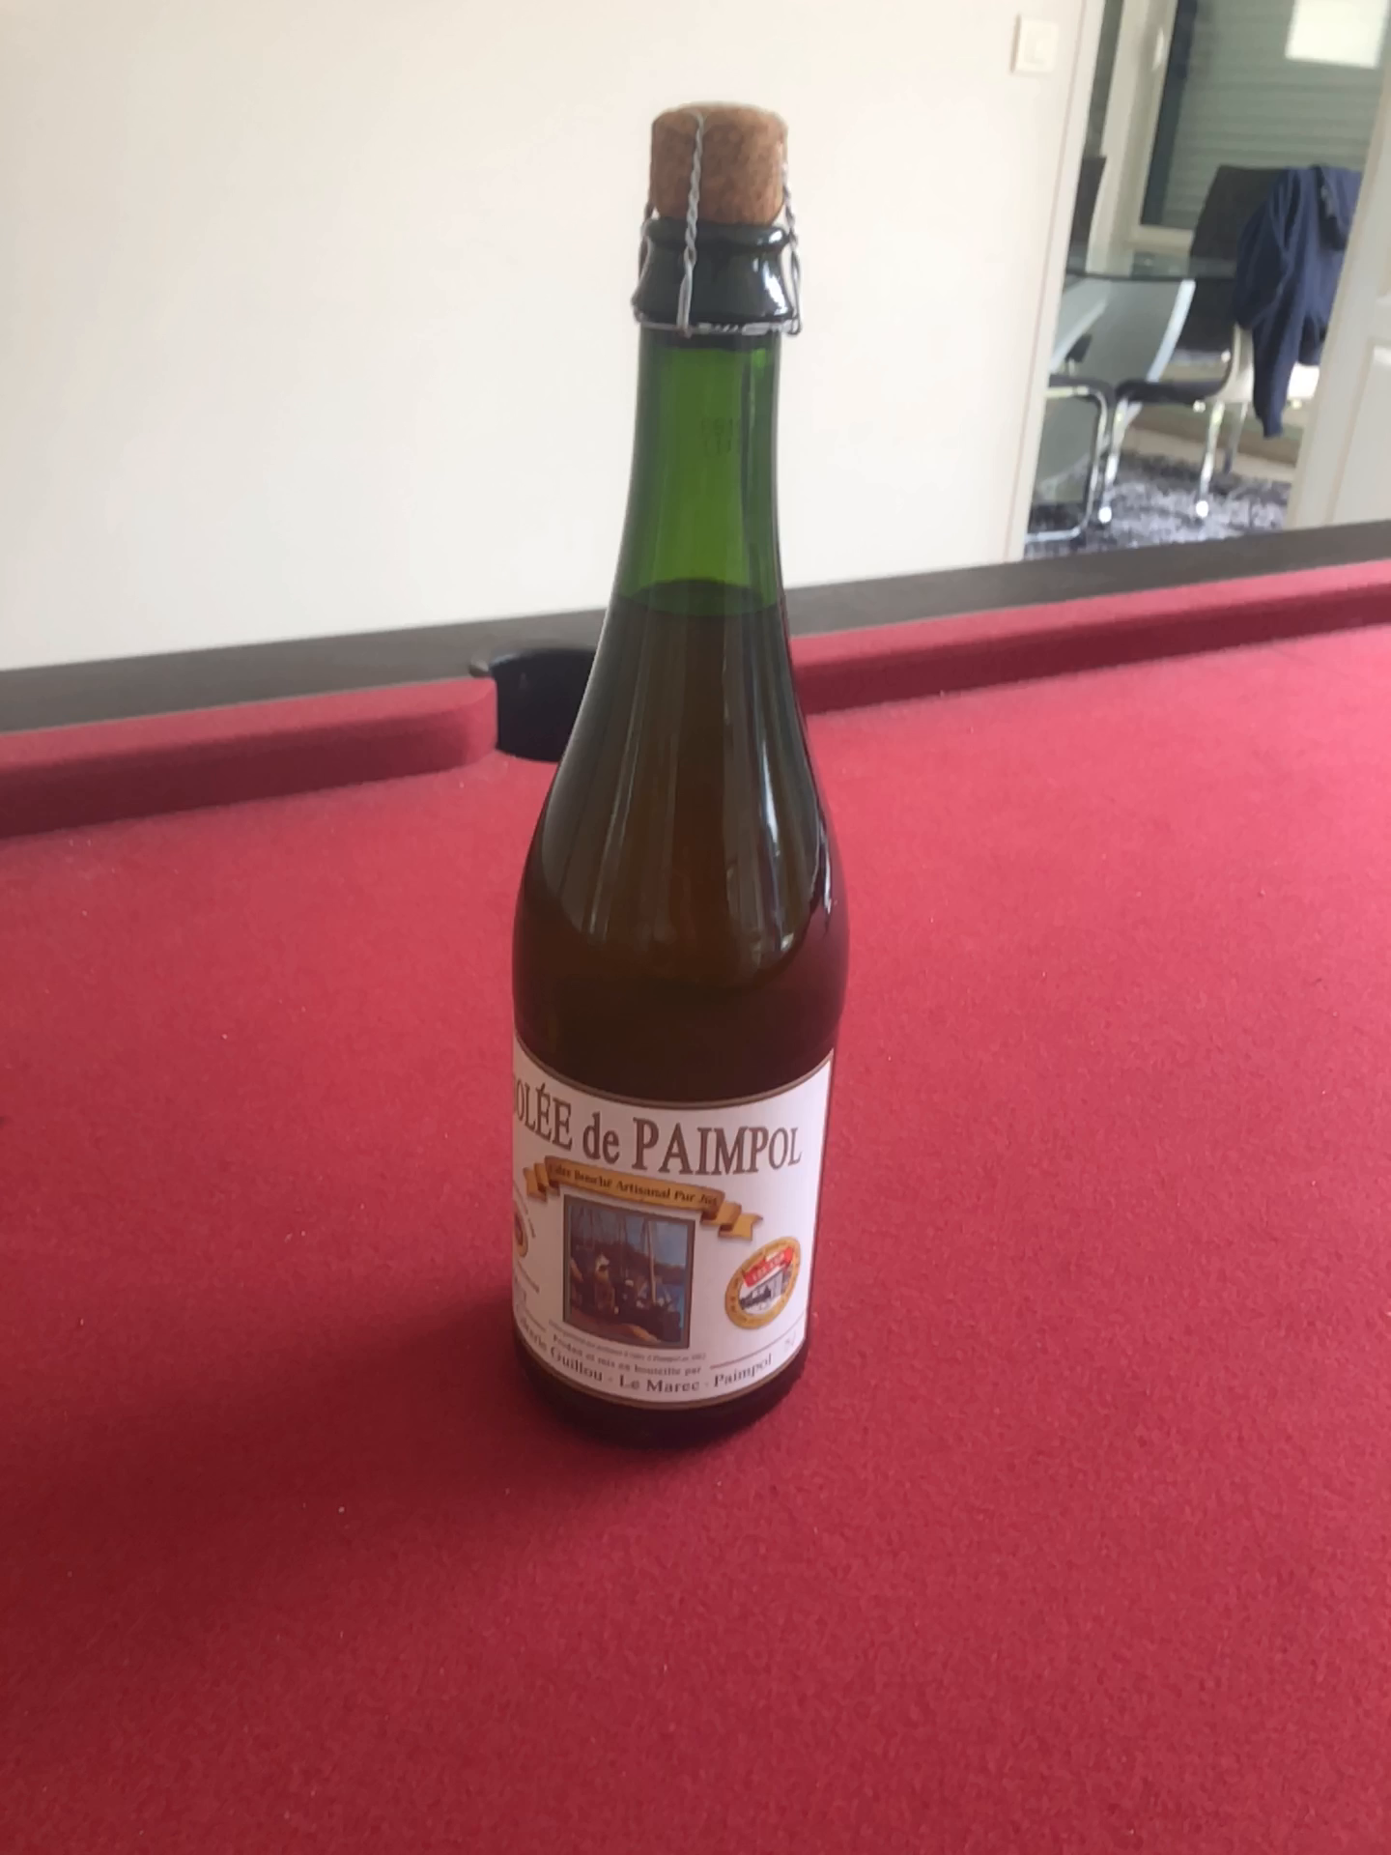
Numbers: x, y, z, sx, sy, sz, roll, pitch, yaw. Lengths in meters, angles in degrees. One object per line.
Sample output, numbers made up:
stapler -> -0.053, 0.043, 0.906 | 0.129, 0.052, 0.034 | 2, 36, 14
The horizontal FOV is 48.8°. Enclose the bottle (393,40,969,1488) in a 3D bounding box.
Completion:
bottle -> -0.003, -0.026, 0.352 | 0.090, 0.298, 0.101 | 7, 27, 8
